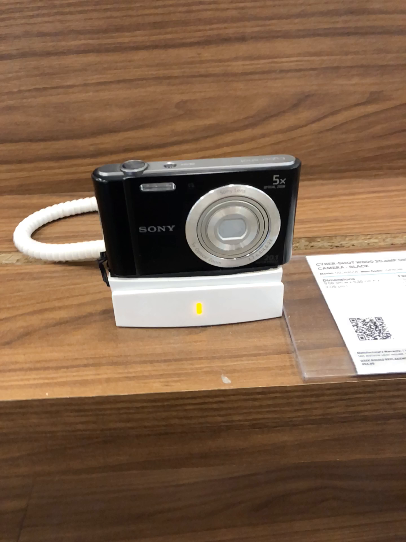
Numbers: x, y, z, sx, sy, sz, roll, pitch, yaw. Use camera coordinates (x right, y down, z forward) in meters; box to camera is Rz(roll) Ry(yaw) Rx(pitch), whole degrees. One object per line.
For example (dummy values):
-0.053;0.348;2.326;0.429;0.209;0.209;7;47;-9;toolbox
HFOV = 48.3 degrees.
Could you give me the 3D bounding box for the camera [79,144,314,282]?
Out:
-0.002;-0.026;0.220;0.100;0.060;0.020;-3;39;-1;camera
